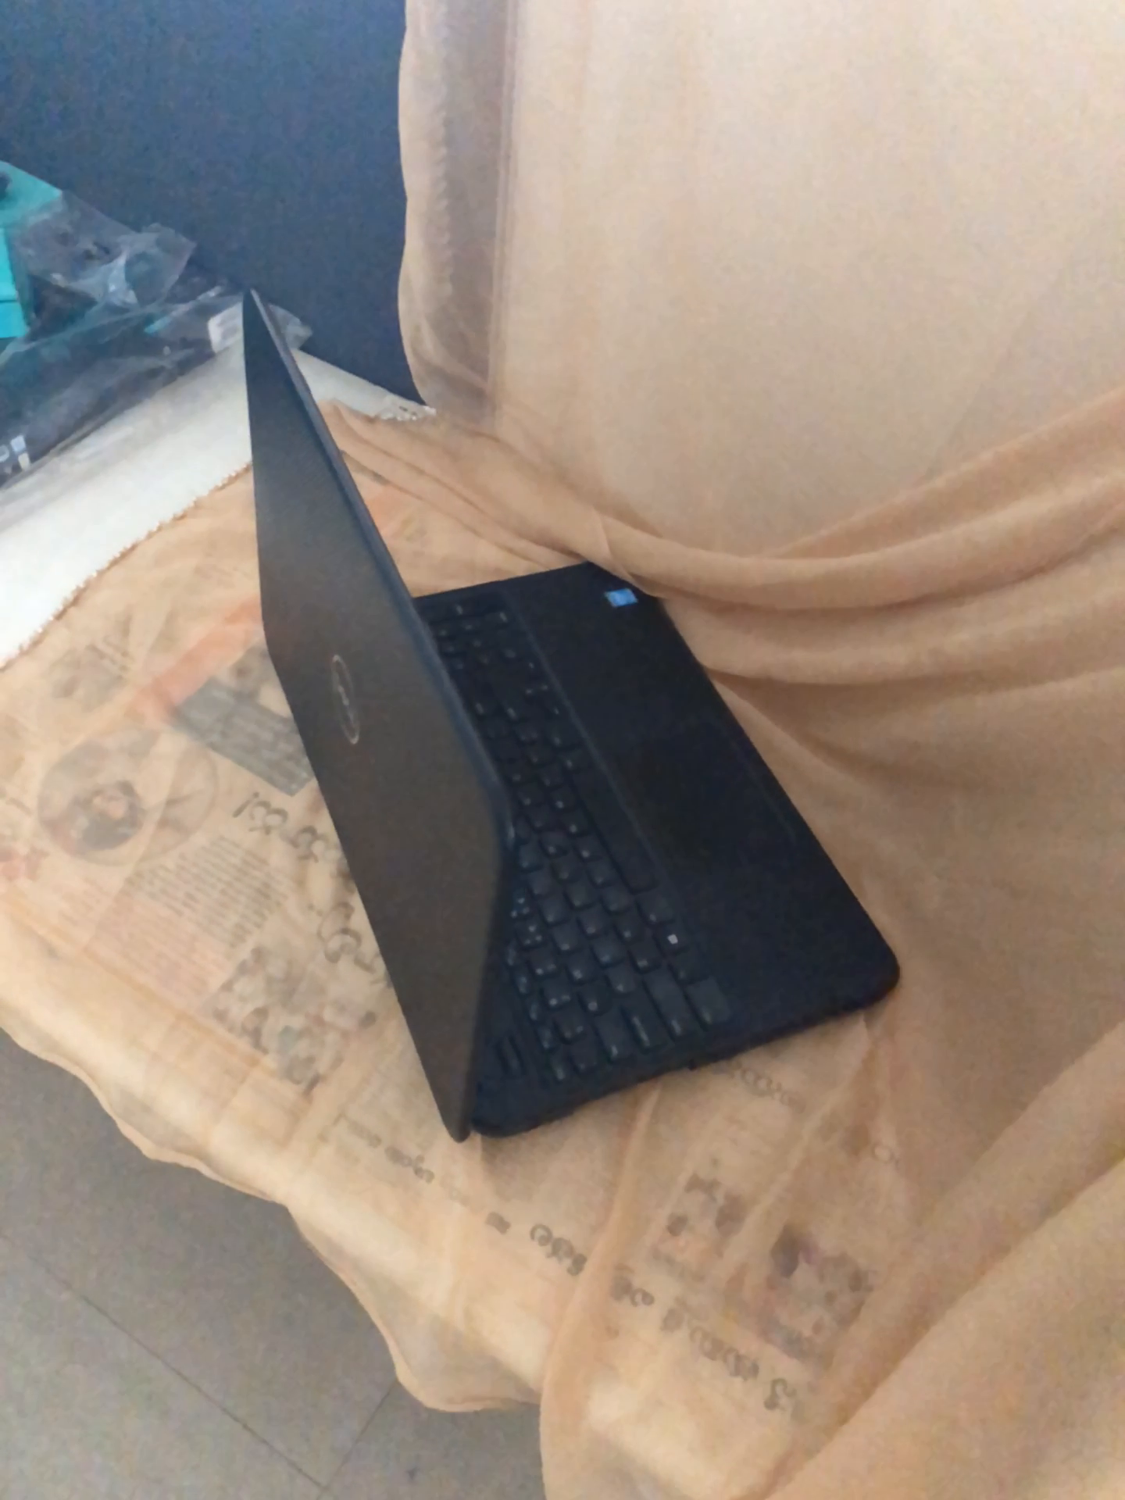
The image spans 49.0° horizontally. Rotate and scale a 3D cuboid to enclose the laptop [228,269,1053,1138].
[{"bbox_3d":[0.007,-0.045,0.631,0.256,0.237,0.334,-14,51,-20],"label":"laptop"}]
